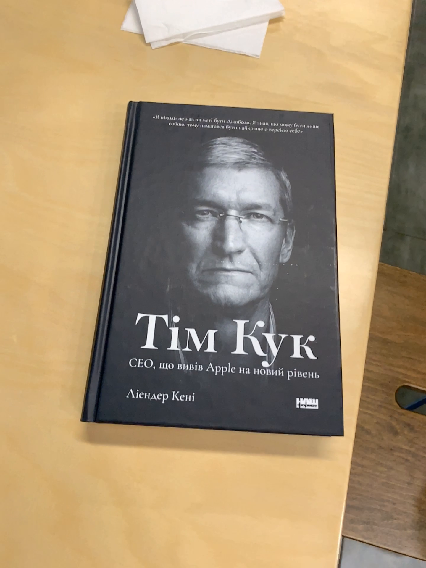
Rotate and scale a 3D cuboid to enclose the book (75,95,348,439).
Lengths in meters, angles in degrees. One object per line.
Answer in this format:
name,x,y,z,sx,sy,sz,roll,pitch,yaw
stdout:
book,0.006,-0.020,0.285,0.144,0.034,0.217,4,70,1
